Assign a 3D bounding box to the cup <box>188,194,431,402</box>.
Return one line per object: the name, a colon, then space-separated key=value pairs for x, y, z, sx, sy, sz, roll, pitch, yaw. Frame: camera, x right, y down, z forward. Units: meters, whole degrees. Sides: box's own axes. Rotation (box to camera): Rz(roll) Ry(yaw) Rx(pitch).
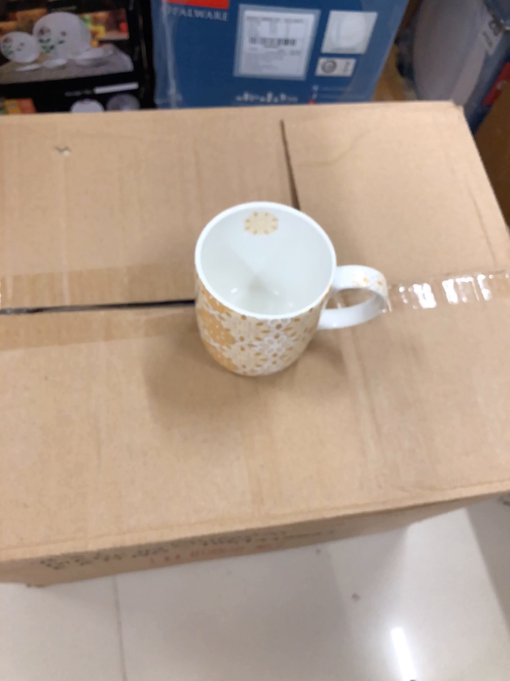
cup: x=0.024 y=-0.020 z=0.339 sx=0.120 sy=0.090 sz=0.080 roll=3 pitch=63 yaw=-6
